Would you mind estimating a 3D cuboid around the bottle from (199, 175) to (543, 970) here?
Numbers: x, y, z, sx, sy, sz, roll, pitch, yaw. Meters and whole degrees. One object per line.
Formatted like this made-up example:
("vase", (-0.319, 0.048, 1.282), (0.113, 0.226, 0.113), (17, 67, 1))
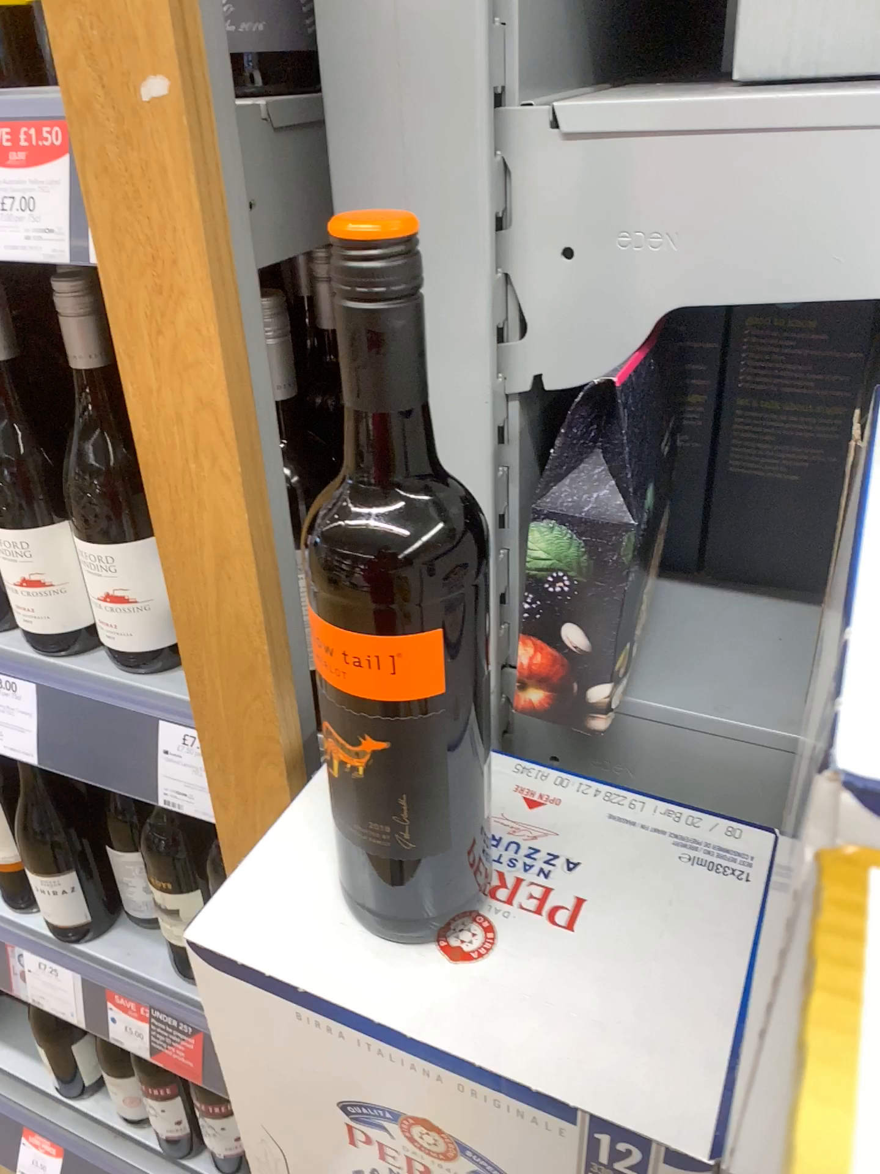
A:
("bottle", (-0.016, 0.006, 0.356), (0.076, 0.297, 0.078), (-2, 30, 1))
